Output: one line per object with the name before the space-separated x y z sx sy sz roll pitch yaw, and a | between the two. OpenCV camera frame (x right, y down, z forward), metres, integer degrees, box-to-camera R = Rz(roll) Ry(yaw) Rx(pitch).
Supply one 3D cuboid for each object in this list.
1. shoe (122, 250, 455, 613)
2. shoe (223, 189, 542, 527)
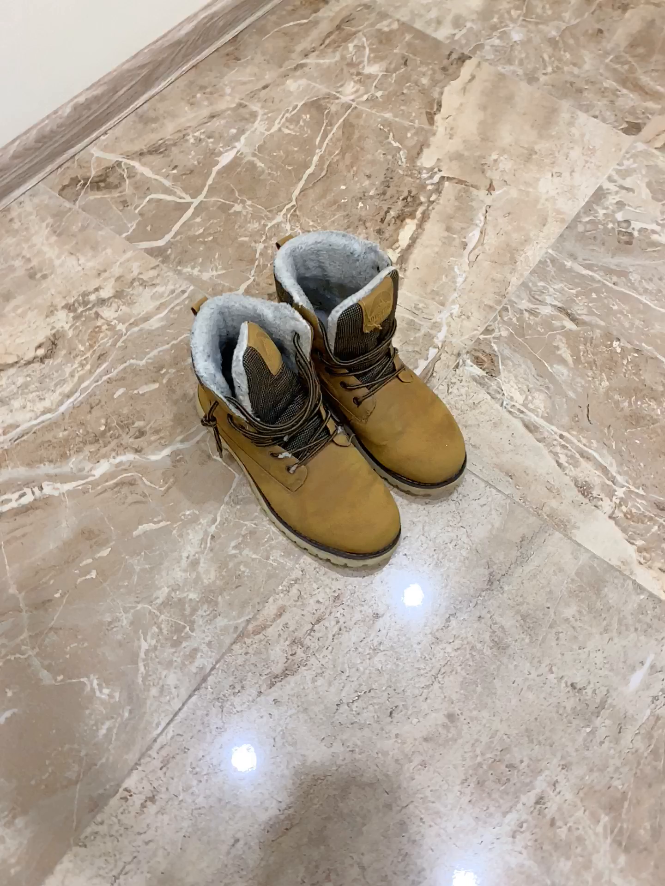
shoe | -0.046 -0.008 0.624 0.120 0.160 0.280 -37 71 -19
shoe | 0.034 -0.082 0.653 0.120 0.140 0.280 -37 71 -19
